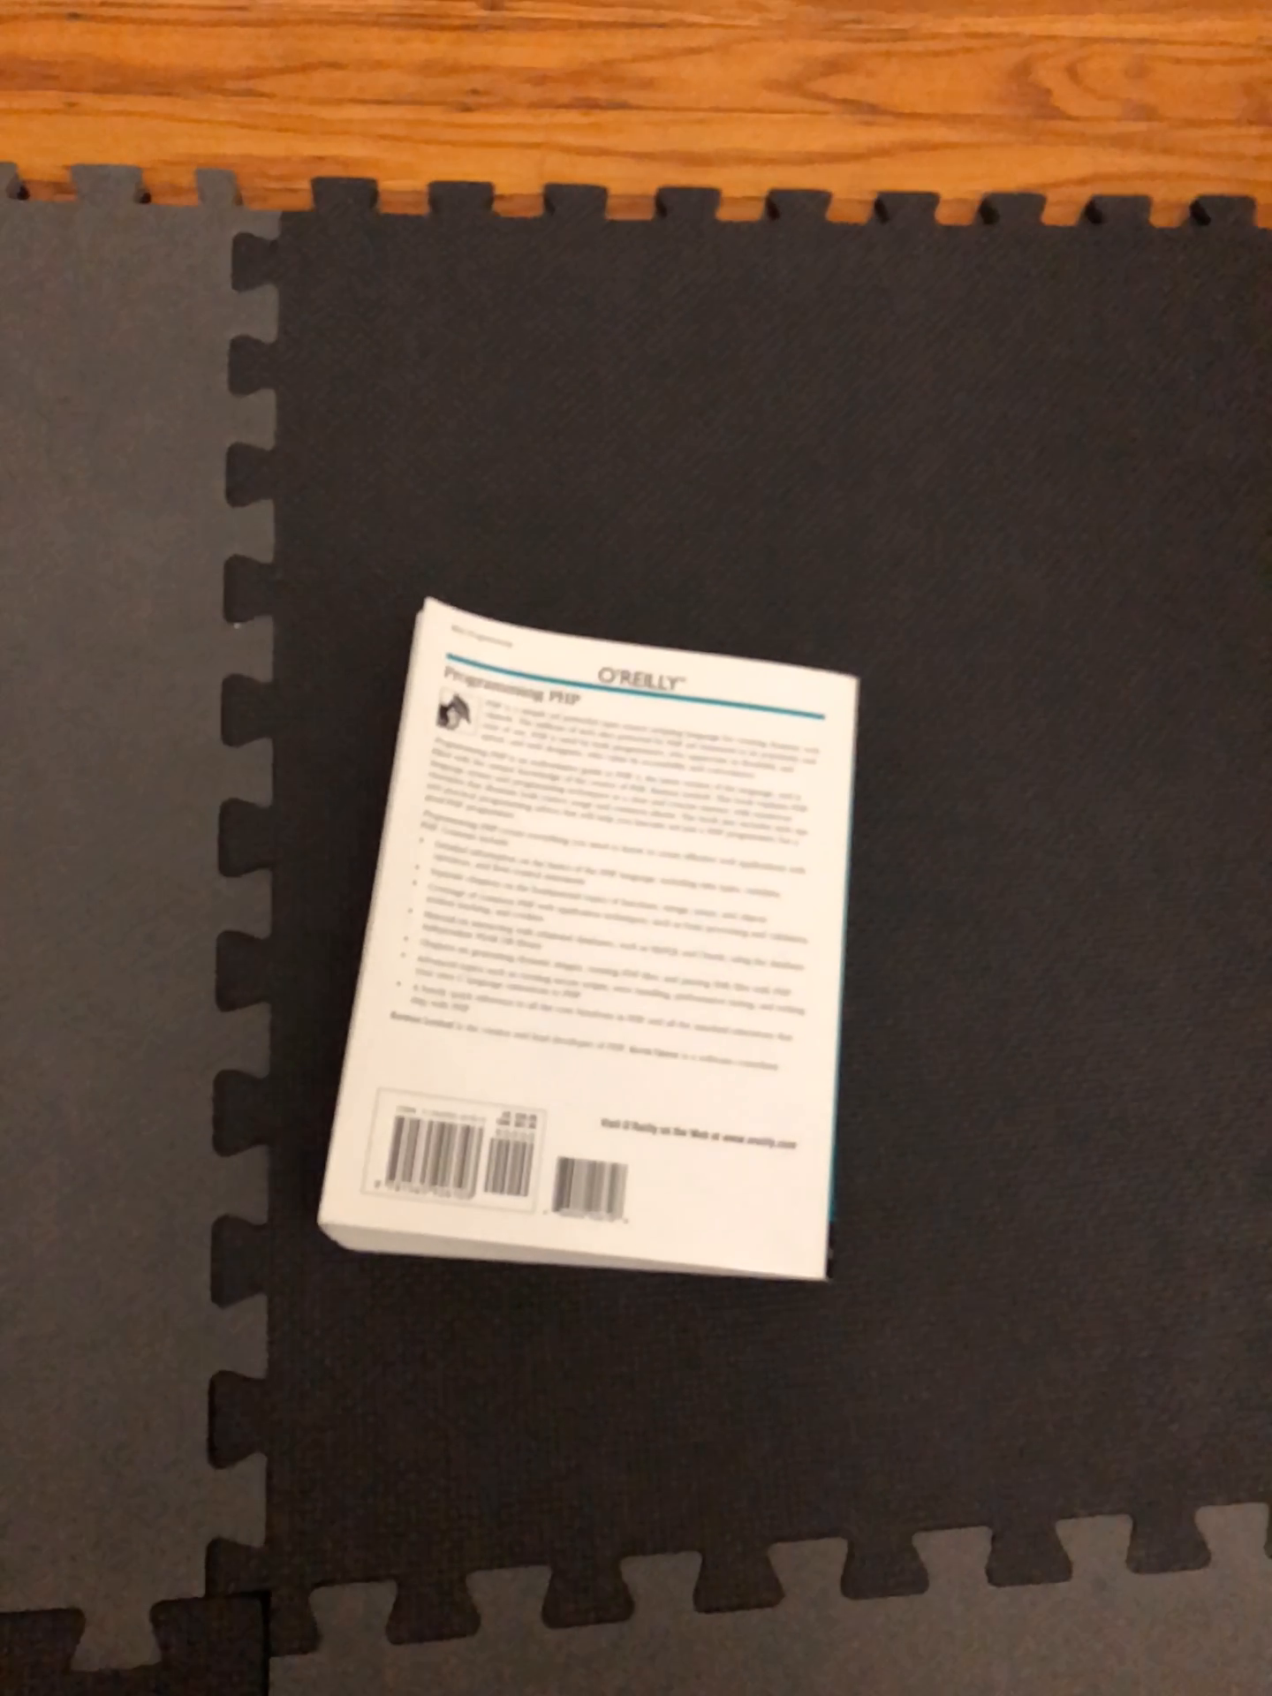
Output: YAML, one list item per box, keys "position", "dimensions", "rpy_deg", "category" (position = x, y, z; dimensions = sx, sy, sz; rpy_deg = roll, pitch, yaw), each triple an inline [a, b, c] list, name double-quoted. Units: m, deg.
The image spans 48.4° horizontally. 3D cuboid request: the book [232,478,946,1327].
- position: [-0.006, 0.015, 0.530]
  dimensions: [0.230, 0.040, 0.290]
  rpy_deg: [7, 73, -4]
  category: "book"
